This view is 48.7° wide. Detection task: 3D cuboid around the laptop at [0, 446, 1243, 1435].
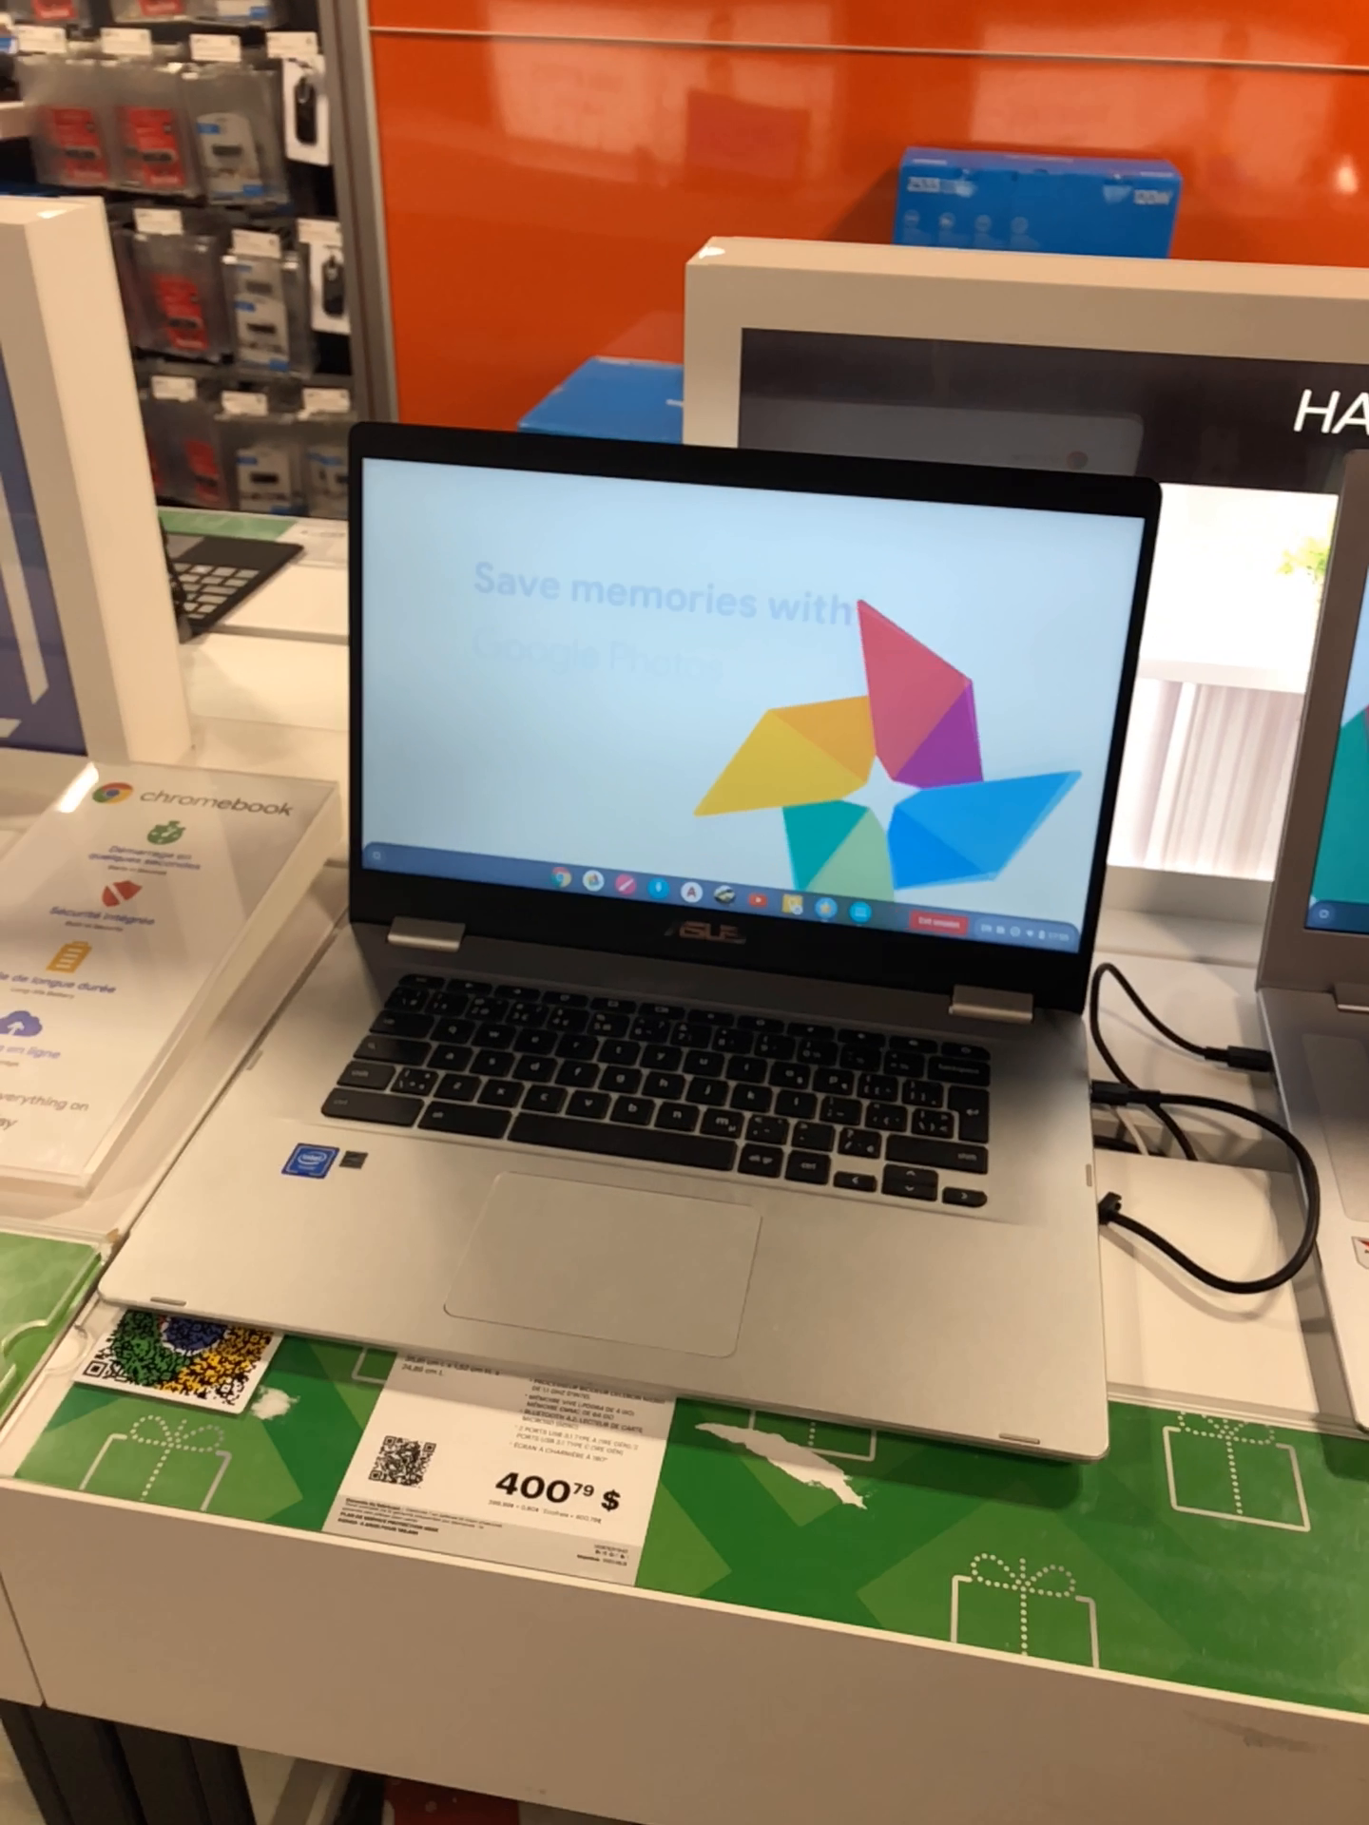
[{"bbox_3d":[-0.003,-0.017,0.566,0.337,0.225,0.287,6,32,9],"label":"laptop"}]
